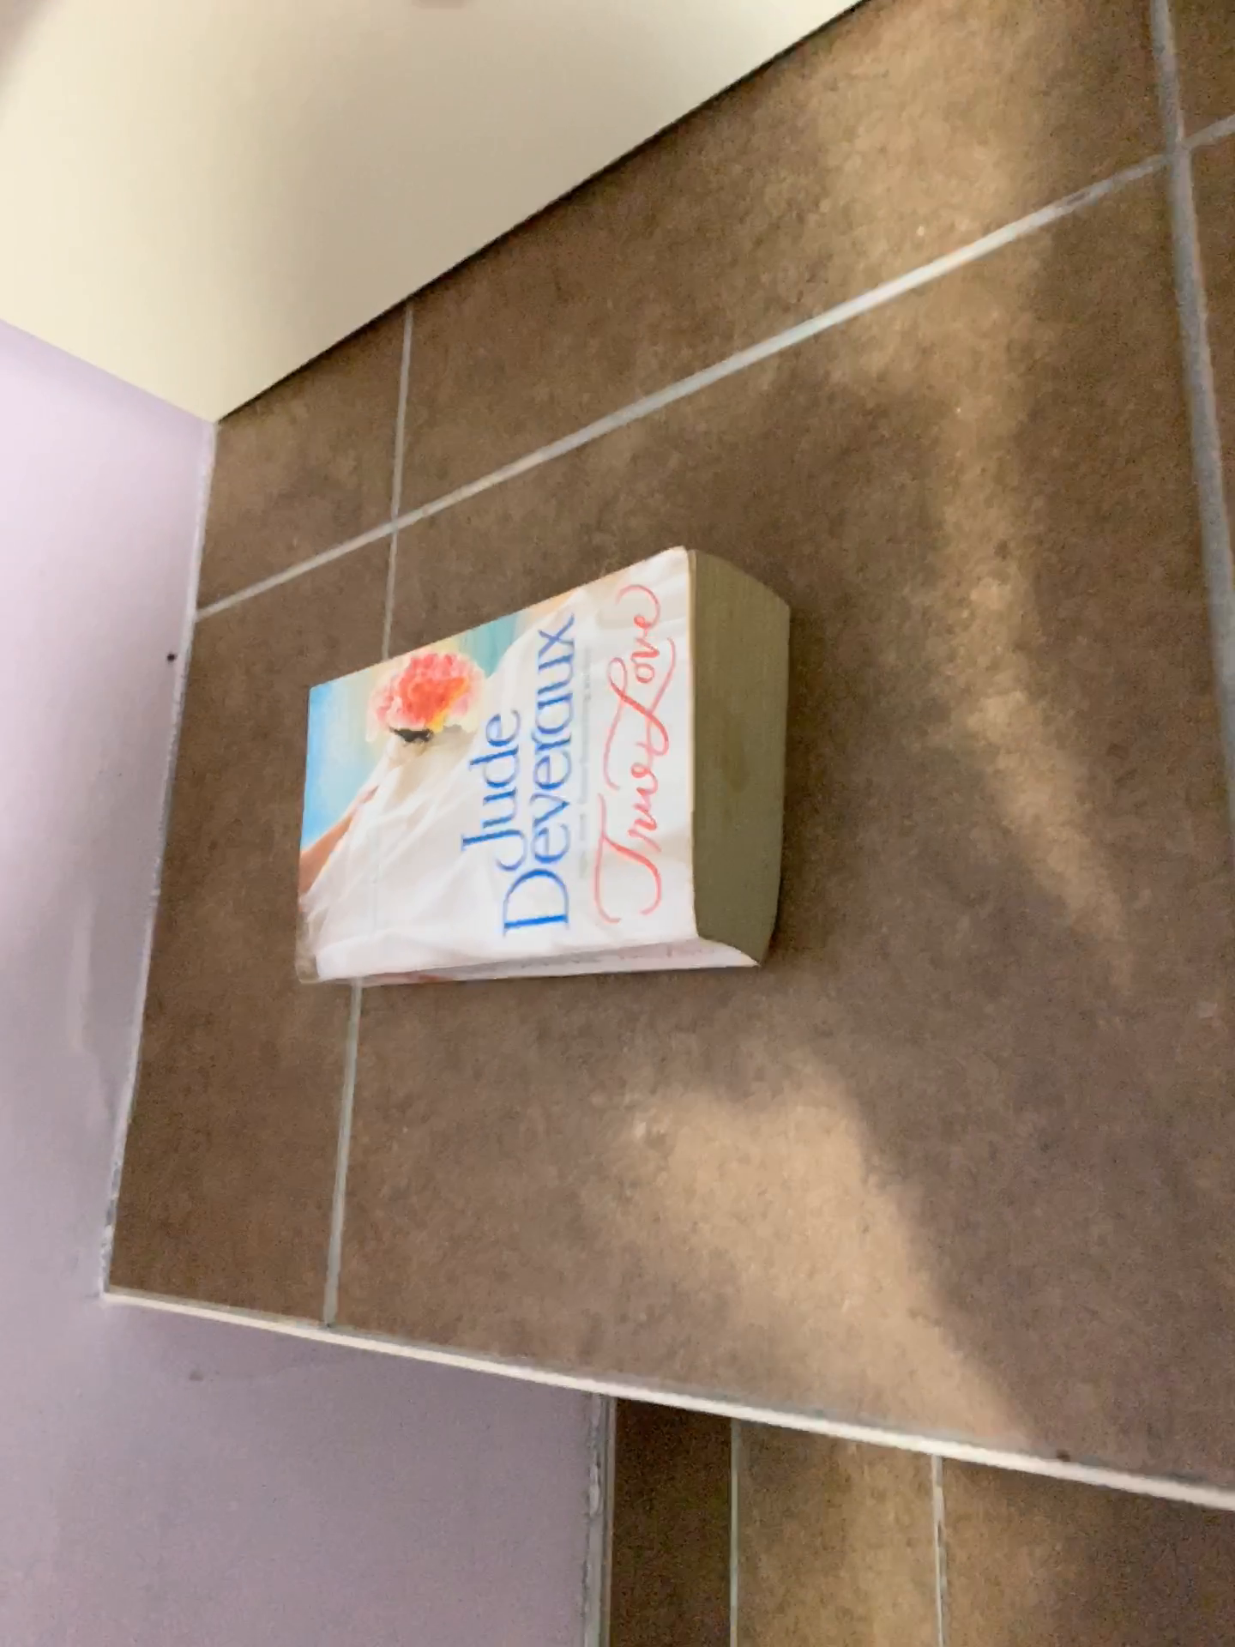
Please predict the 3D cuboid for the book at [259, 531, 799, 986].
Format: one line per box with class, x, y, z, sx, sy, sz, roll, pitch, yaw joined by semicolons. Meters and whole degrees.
book;-0.034;-0.009;0.386;0.180;0.047;0.106;-9;72;41
